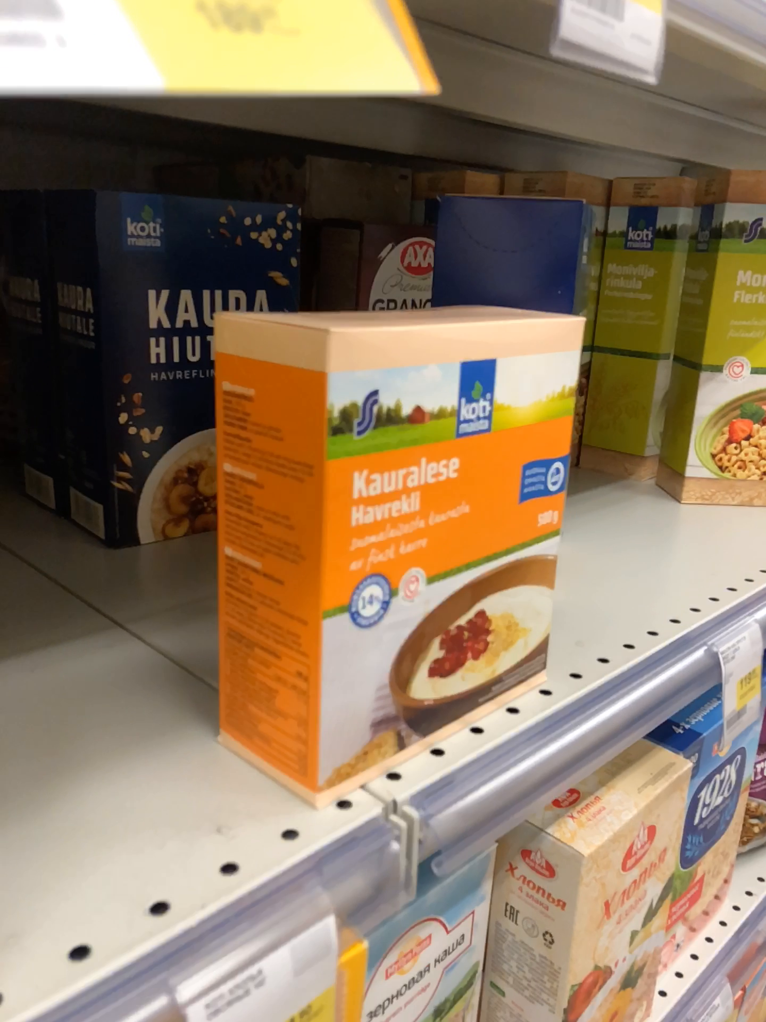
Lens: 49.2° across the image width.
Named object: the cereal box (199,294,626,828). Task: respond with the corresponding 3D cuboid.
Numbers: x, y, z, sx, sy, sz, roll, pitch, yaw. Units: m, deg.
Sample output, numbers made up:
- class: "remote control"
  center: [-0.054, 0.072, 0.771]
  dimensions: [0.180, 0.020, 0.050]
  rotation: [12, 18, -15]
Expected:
- class: "cereal box"
  center: [0.016, 0.003, 0.336]
  dimensions: [0.070, 0.169, 0.160]
  rotation: [18, 23, 41]
